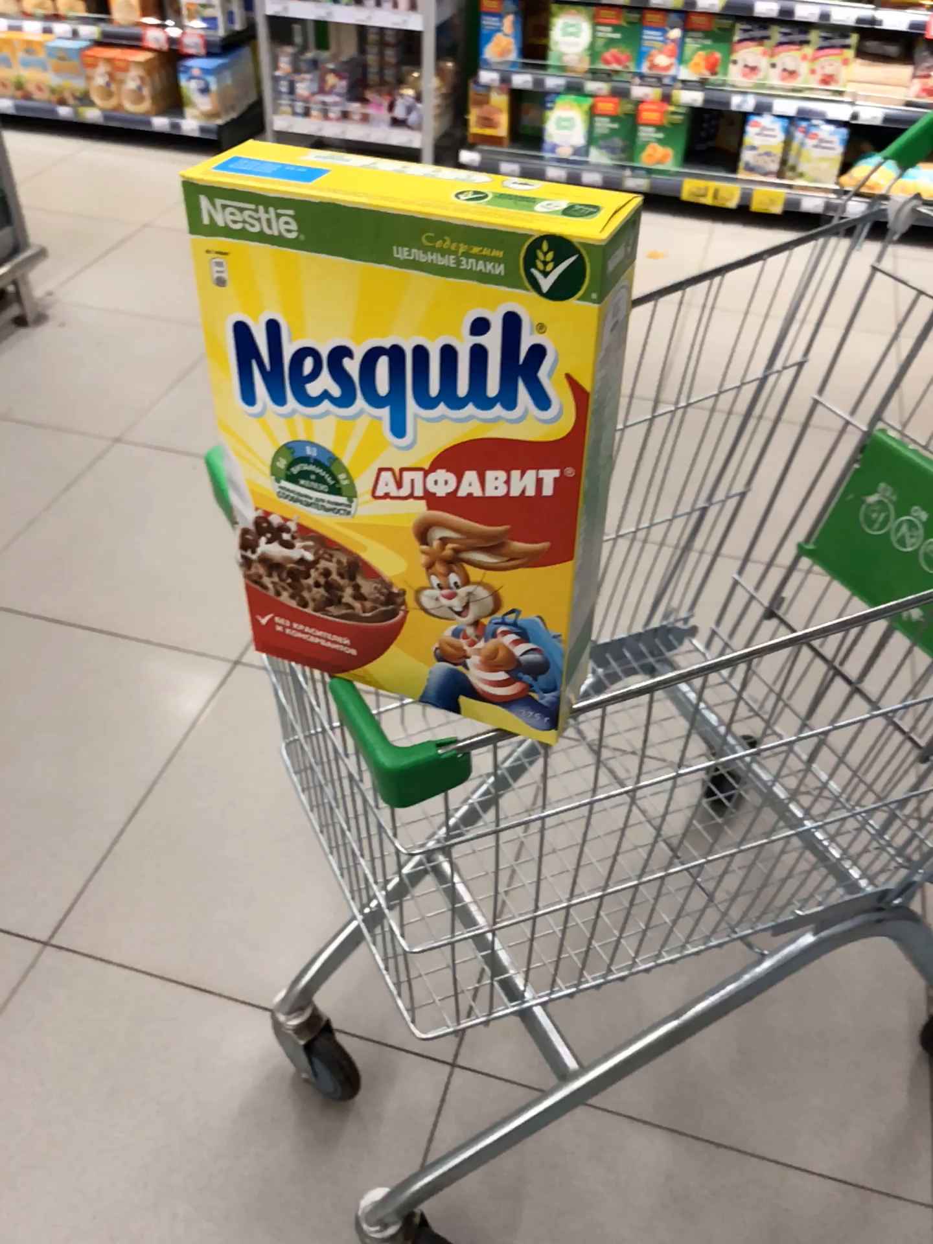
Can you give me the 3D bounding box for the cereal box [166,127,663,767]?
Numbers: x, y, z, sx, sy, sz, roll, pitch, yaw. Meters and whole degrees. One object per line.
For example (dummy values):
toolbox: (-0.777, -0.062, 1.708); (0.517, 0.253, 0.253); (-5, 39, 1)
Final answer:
cereal box: (-0.027, -0.075, 0.521); (0.200, 0.288, 0.060); (15, 41, 15)
